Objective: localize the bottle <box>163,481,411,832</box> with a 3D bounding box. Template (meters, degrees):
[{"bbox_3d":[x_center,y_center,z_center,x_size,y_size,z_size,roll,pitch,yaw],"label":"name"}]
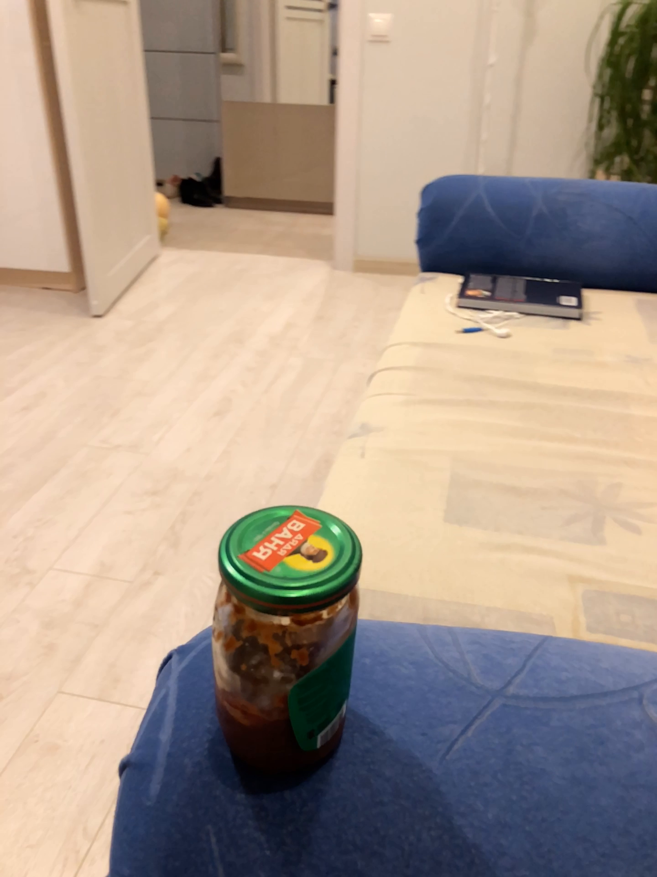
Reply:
[{"bbox_3d":[-0.016,0.078,0.269,0.060,0.092,0.060,4,30,-2],"label":"bottle"}]
